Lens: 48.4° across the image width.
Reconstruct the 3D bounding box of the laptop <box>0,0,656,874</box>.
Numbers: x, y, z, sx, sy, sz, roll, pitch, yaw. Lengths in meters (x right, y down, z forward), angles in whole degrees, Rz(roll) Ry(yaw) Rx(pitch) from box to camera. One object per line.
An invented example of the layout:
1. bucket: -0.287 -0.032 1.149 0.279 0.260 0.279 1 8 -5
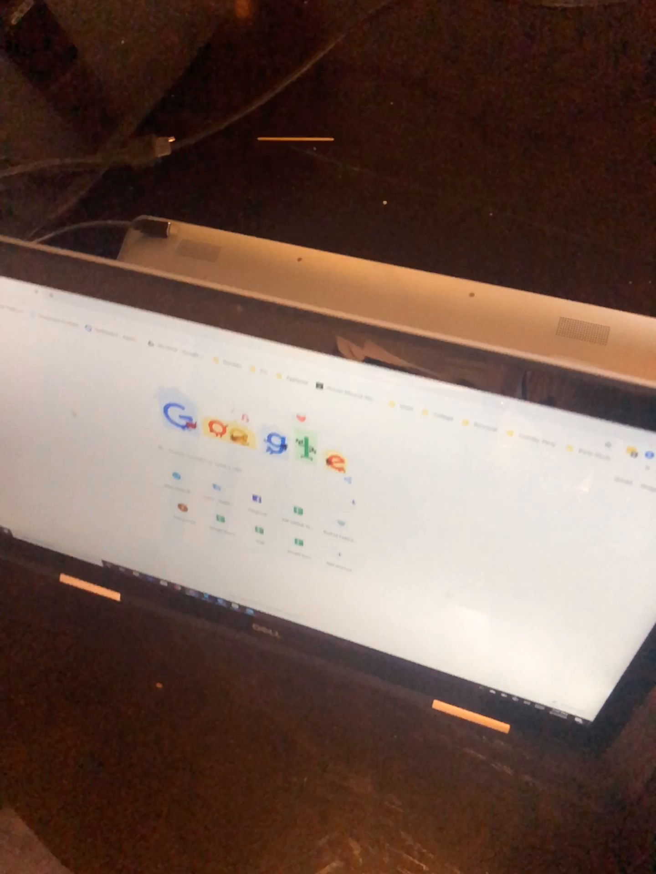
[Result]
1. laptop: -0.015 -0.025 0.369 0.419 0.233 0.267 16 80 14
